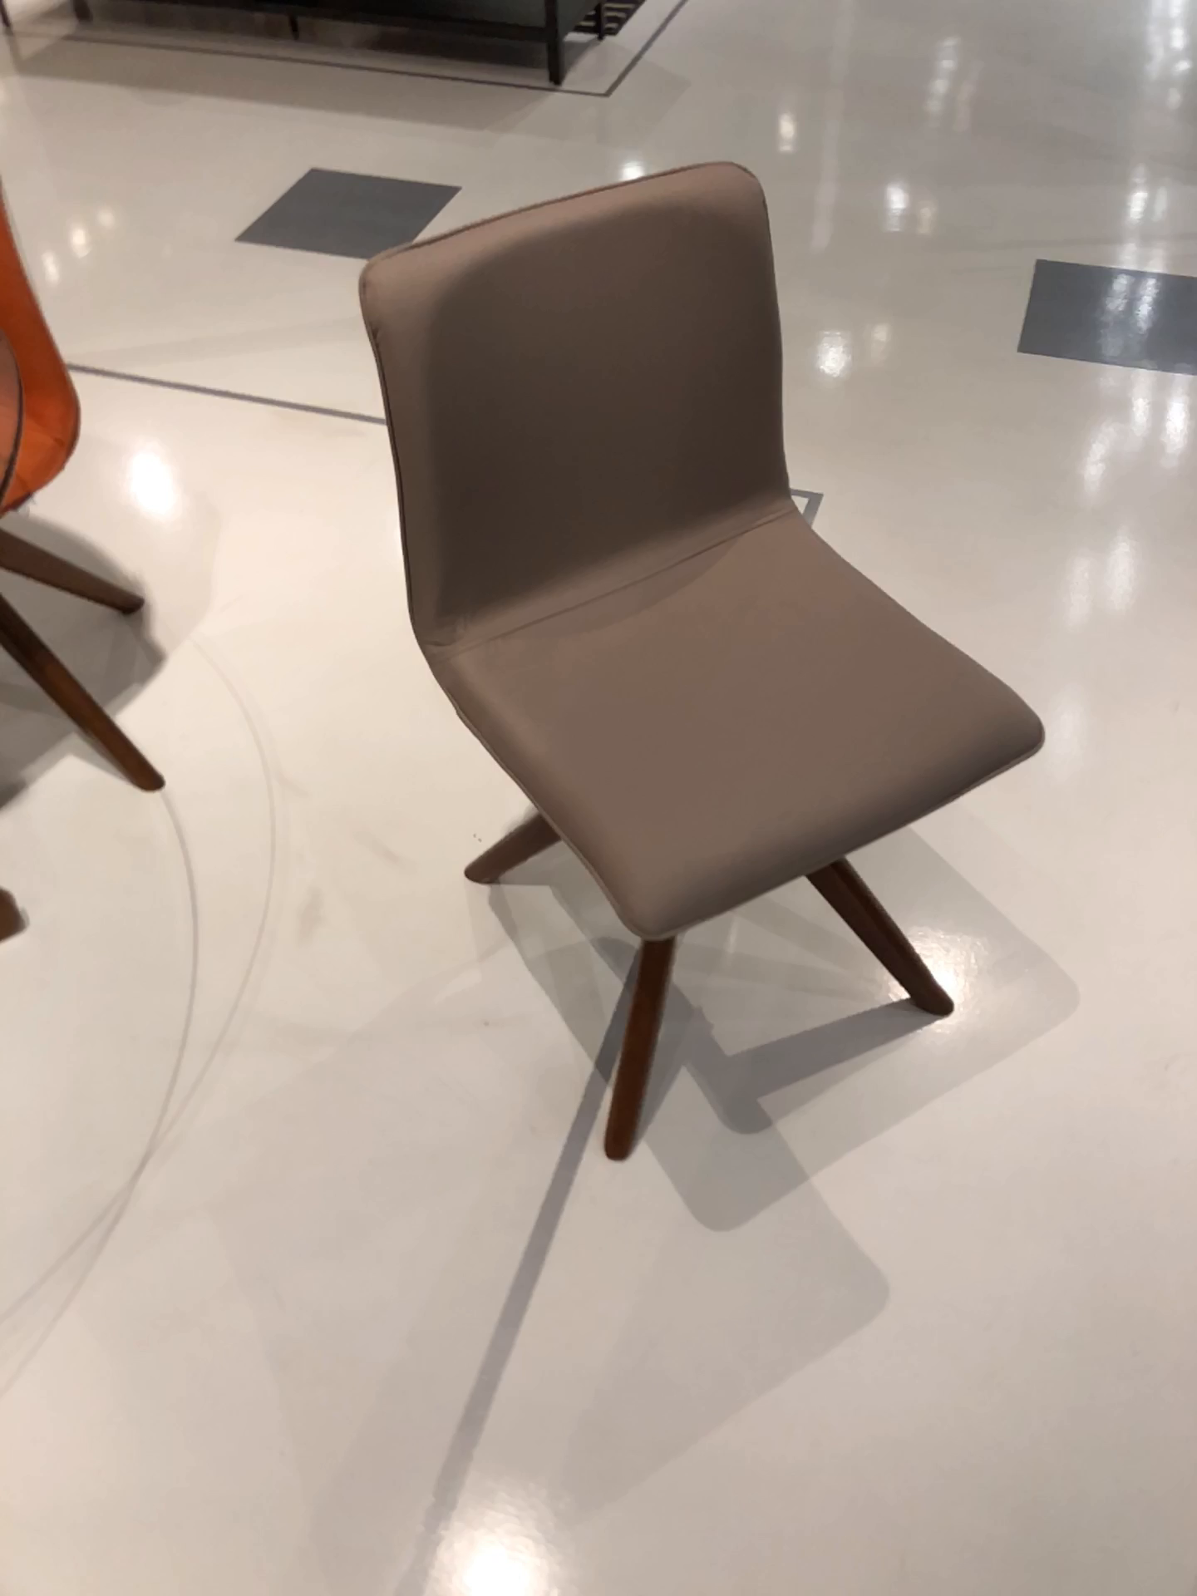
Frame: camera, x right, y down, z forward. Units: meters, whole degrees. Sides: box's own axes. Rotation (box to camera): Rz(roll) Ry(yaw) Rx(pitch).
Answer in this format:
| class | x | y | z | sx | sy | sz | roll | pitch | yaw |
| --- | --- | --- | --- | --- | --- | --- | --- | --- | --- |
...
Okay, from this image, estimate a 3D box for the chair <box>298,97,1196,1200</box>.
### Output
| class | x | y | z | sx | sy | sz | roll | pitch | yaw |
| --- | --- | --- | --- | --- | --- | --- | --- | --- | --- |
| chair | 0.114 | -0.120 | 1.272 | 0.501 | 0.805 | 0.513 | -24 | 51 | -18 |
